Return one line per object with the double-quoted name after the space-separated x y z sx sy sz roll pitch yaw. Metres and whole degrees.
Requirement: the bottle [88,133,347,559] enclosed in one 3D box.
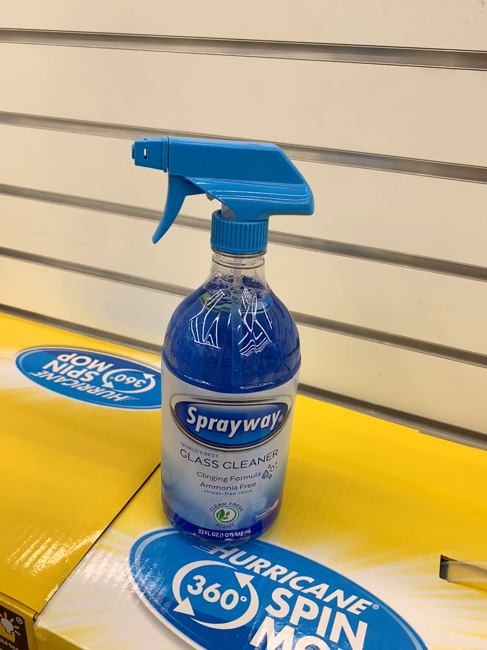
-0.018 0.019 0.308 0.110 0.239 0.090 3 26 -2 "bottle"
